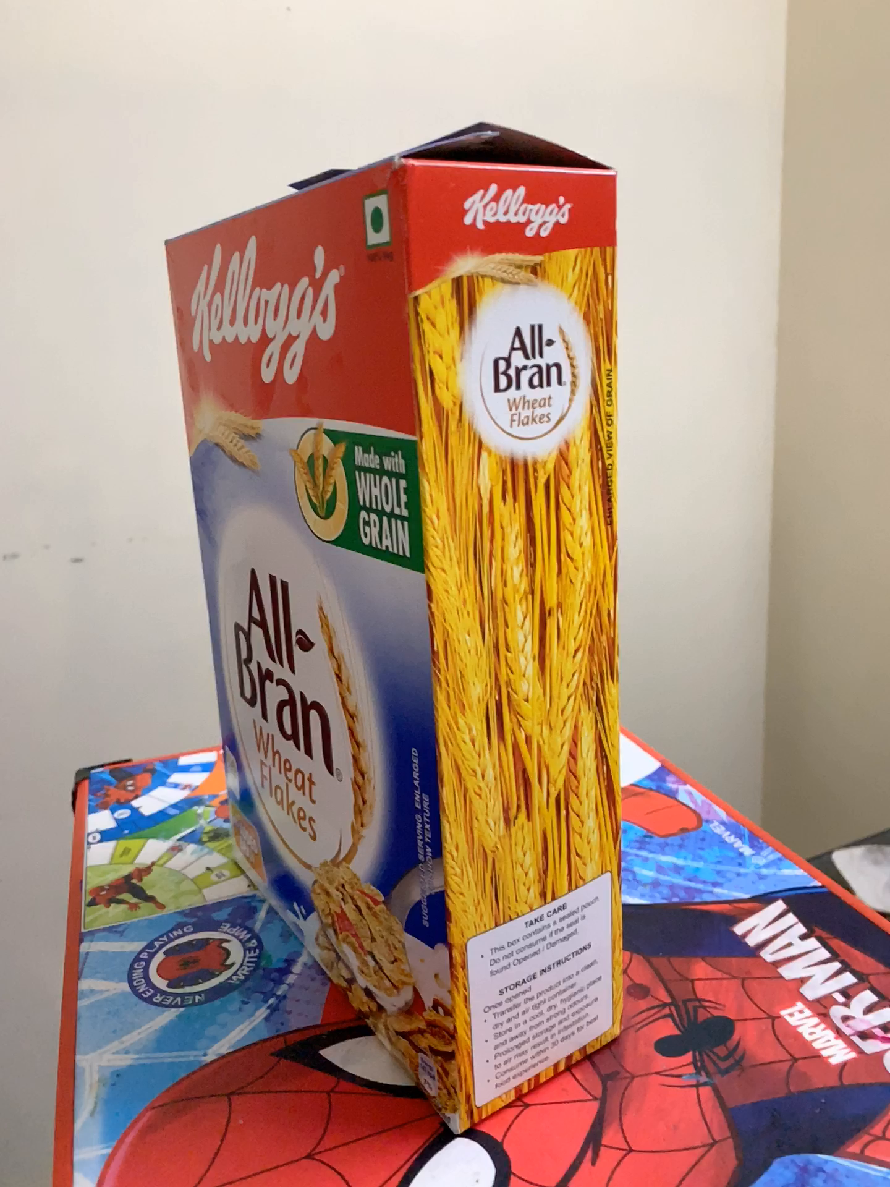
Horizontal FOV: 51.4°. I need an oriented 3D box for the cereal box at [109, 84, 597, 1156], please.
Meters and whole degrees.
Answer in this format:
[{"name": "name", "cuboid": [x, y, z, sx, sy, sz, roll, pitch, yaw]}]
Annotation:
[{"name": "cereal box", "cuboid": [-0.039, -0.001, 0.300, 0.060, 0.249, 0.191, -12, 17, -30]}]
